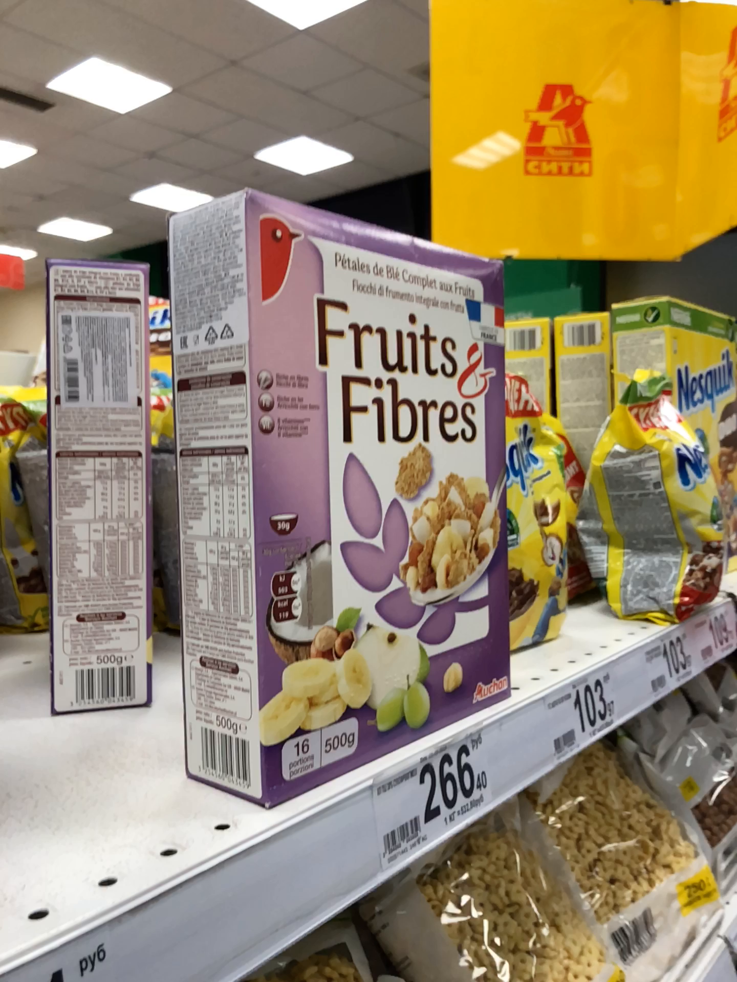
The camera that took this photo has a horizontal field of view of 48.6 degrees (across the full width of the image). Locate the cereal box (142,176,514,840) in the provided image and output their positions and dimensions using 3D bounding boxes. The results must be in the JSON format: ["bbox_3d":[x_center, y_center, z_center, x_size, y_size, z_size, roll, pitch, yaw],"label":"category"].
[{"bbox_3d":[-0.007,0.003,0.414,0.060,0.260,0.200,0,2,40],"label":"cereal box"}]
